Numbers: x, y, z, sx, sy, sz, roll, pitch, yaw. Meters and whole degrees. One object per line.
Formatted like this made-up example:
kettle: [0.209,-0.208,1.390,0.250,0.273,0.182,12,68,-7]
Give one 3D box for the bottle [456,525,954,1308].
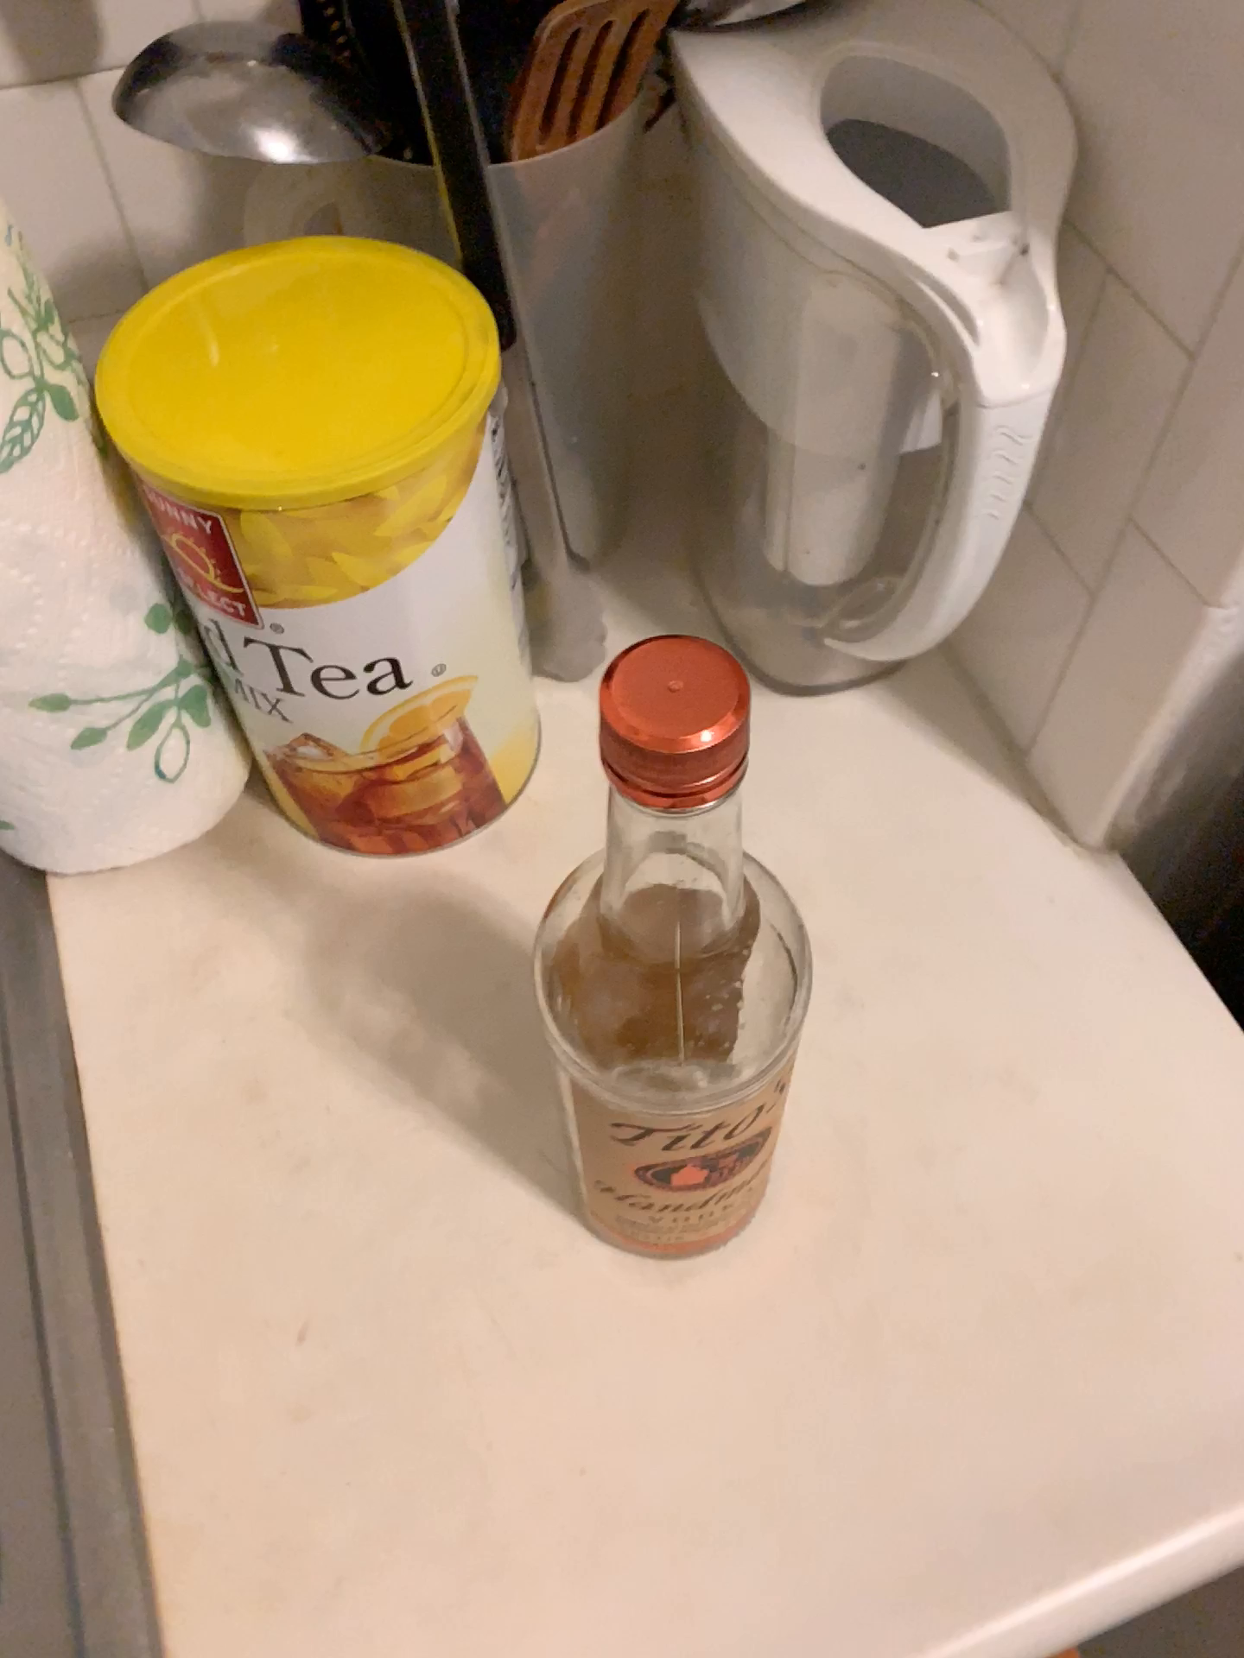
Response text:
bottle: [0.014,0.054,0.371,0.080,0.289,0.080,0,56,0]
